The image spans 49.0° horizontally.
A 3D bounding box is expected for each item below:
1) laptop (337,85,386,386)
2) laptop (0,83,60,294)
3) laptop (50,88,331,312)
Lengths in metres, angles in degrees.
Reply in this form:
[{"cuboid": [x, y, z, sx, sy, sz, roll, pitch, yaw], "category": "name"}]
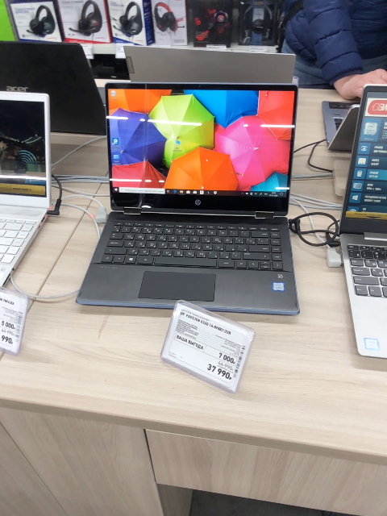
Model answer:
[{"cuboid": [0.424, -0.056, 0.574, 0.351, 0.218, 0.331, 5, 43, 6], "category": "laptop"}, {"cuboid": [-0.436, -0.136, 0.722, 0.292, 0.171, 0.324, 5, 44, 3], "category": "laptop"}, {"cuboid": [0.002, -0.111, 0.677, 0.326, 0.194, 0.328, 2, 42, 4], "category": "laptop"}]
